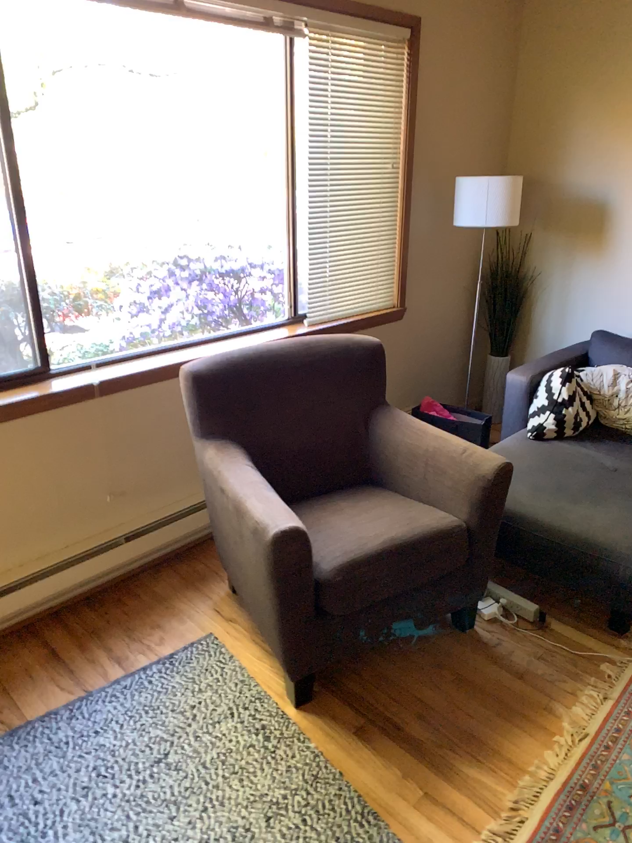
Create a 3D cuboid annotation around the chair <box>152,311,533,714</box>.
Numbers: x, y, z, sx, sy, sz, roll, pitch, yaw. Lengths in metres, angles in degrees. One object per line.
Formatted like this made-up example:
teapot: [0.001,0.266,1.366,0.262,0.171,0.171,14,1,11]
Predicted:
chair: [0.060,0.176,2.113,0.880,0.876,0.803,-13,22,-29]
